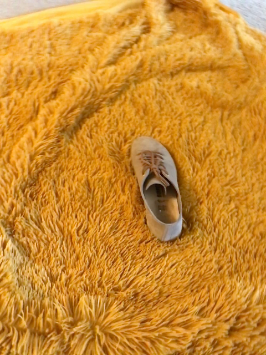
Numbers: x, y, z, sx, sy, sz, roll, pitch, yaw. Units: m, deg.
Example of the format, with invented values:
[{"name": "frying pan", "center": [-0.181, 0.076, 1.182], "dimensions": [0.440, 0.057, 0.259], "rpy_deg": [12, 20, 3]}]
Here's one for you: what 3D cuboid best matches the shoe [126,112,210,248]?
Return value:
[{"name": "shoe", "center": [0.056, -0.005, 0.571], "dimensions": [0.100, 0.070, 0.259], "rpy_deg": [-8, 59, -6]}]
